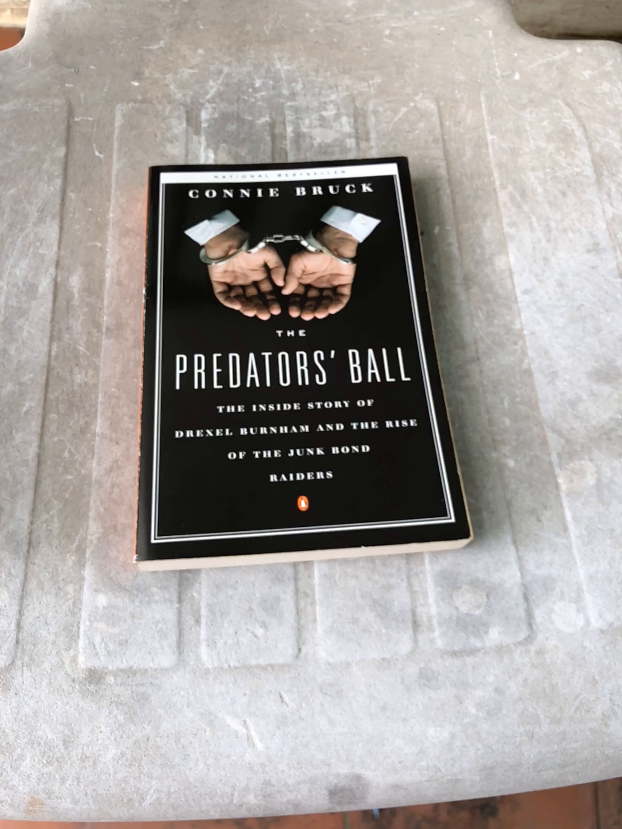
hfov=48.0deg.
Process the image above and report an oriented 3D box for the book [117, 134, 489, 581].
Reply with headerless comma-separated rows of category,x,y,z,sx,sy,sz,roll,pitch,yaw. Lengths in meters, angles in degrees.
book,-0.009,-0.037,0.321,0.140,0.030,0.210,-3,65,-2
